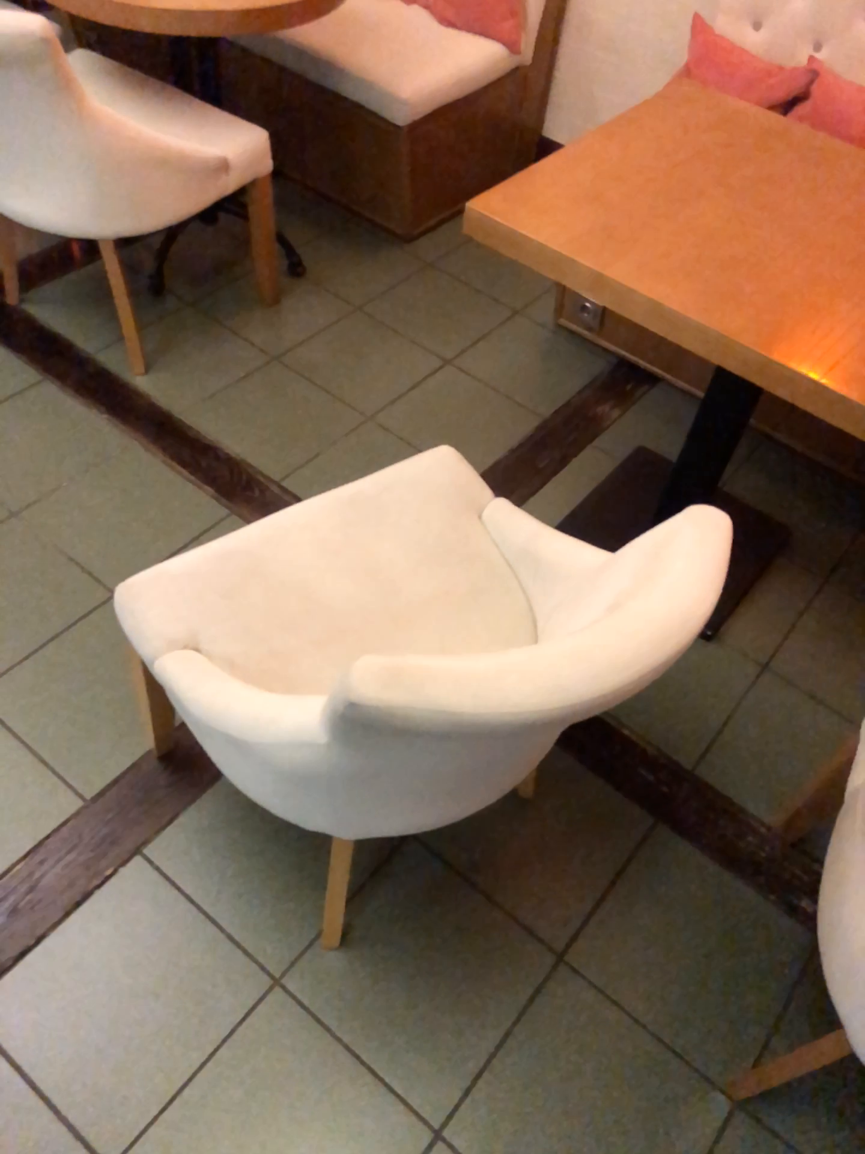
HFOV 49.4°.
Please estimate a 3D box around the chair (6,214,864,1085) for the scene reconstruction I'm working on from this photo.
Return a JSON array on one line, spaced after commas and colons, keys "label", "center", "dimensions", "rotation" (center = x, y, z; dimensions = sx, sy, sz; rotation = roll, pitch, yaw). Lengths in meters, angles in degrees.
[{"label": "chair", "center": [-0.036, 0.090, 1.258], "dimensions": [0.632, 0.736, 0.662], "rotation": [-28, 59, -27]}]
